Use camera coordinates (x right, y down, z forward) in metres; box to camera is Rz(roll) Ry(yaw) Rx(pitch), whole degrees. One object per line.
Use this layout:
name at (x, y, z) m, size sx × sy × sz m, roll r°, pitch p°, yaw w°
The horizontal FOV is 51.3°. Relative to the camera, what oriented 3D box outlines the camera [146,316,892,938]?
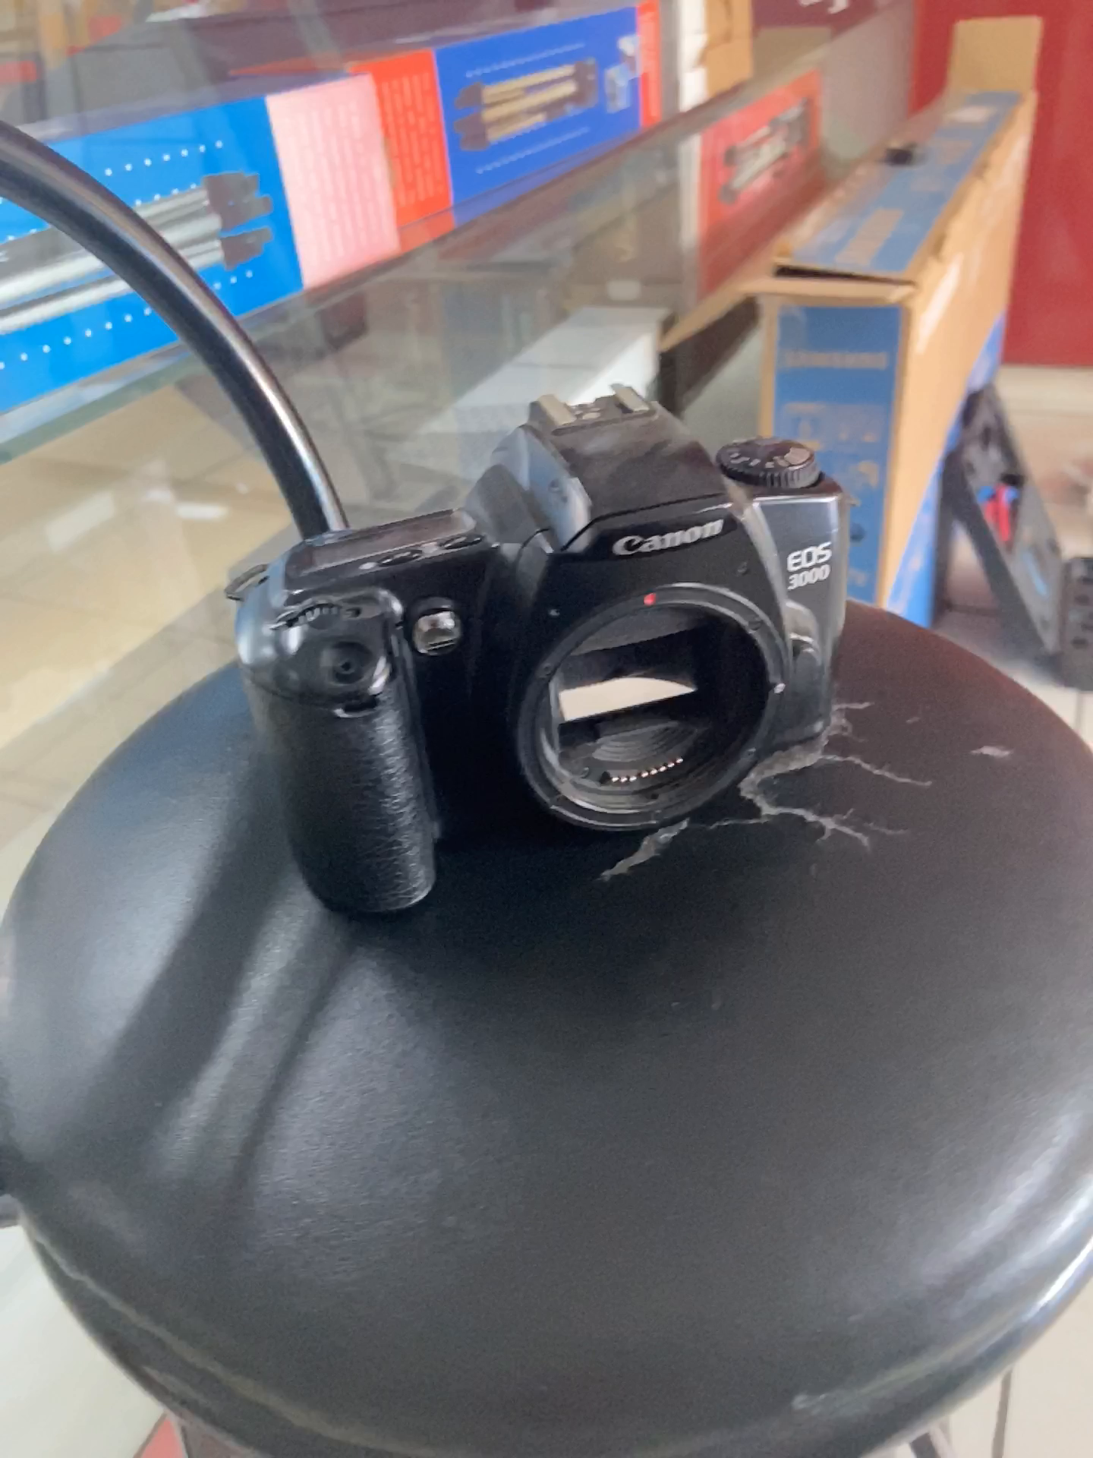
camera at (-0.006, -0.028, 0.259) m, size 0.140 × 0.089 × 0.070 m, roll -15°, pitch 35°, yaw -12°
